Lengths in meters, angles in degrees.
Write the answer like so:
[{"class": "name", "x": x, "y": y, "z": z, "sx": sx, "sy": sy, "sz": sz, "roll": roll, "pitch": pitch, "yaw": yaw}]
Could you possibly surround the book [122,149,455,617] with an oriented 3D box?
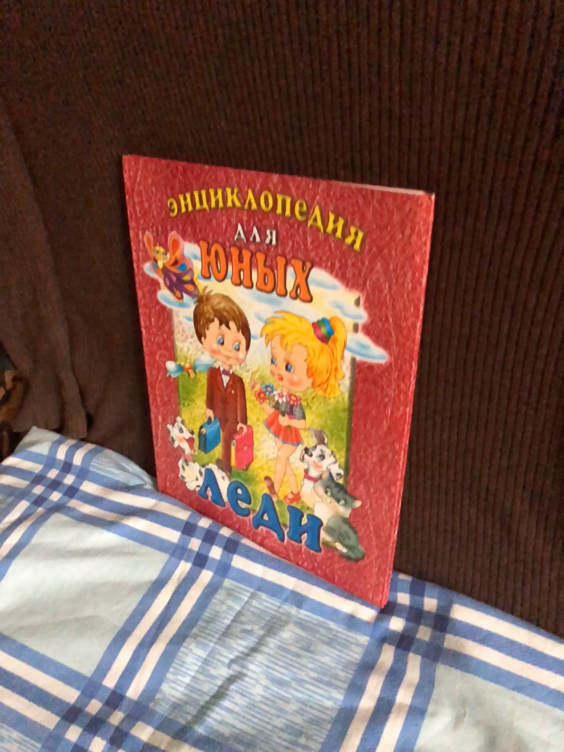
[{"class": "book", "x": -0.012, "y": 0.007, "z": 0.450, "sx": 0.230, "sy": 0.303, "sz": 0.020, "roll": 18, "pitch": 31, "yaw": 29}]
